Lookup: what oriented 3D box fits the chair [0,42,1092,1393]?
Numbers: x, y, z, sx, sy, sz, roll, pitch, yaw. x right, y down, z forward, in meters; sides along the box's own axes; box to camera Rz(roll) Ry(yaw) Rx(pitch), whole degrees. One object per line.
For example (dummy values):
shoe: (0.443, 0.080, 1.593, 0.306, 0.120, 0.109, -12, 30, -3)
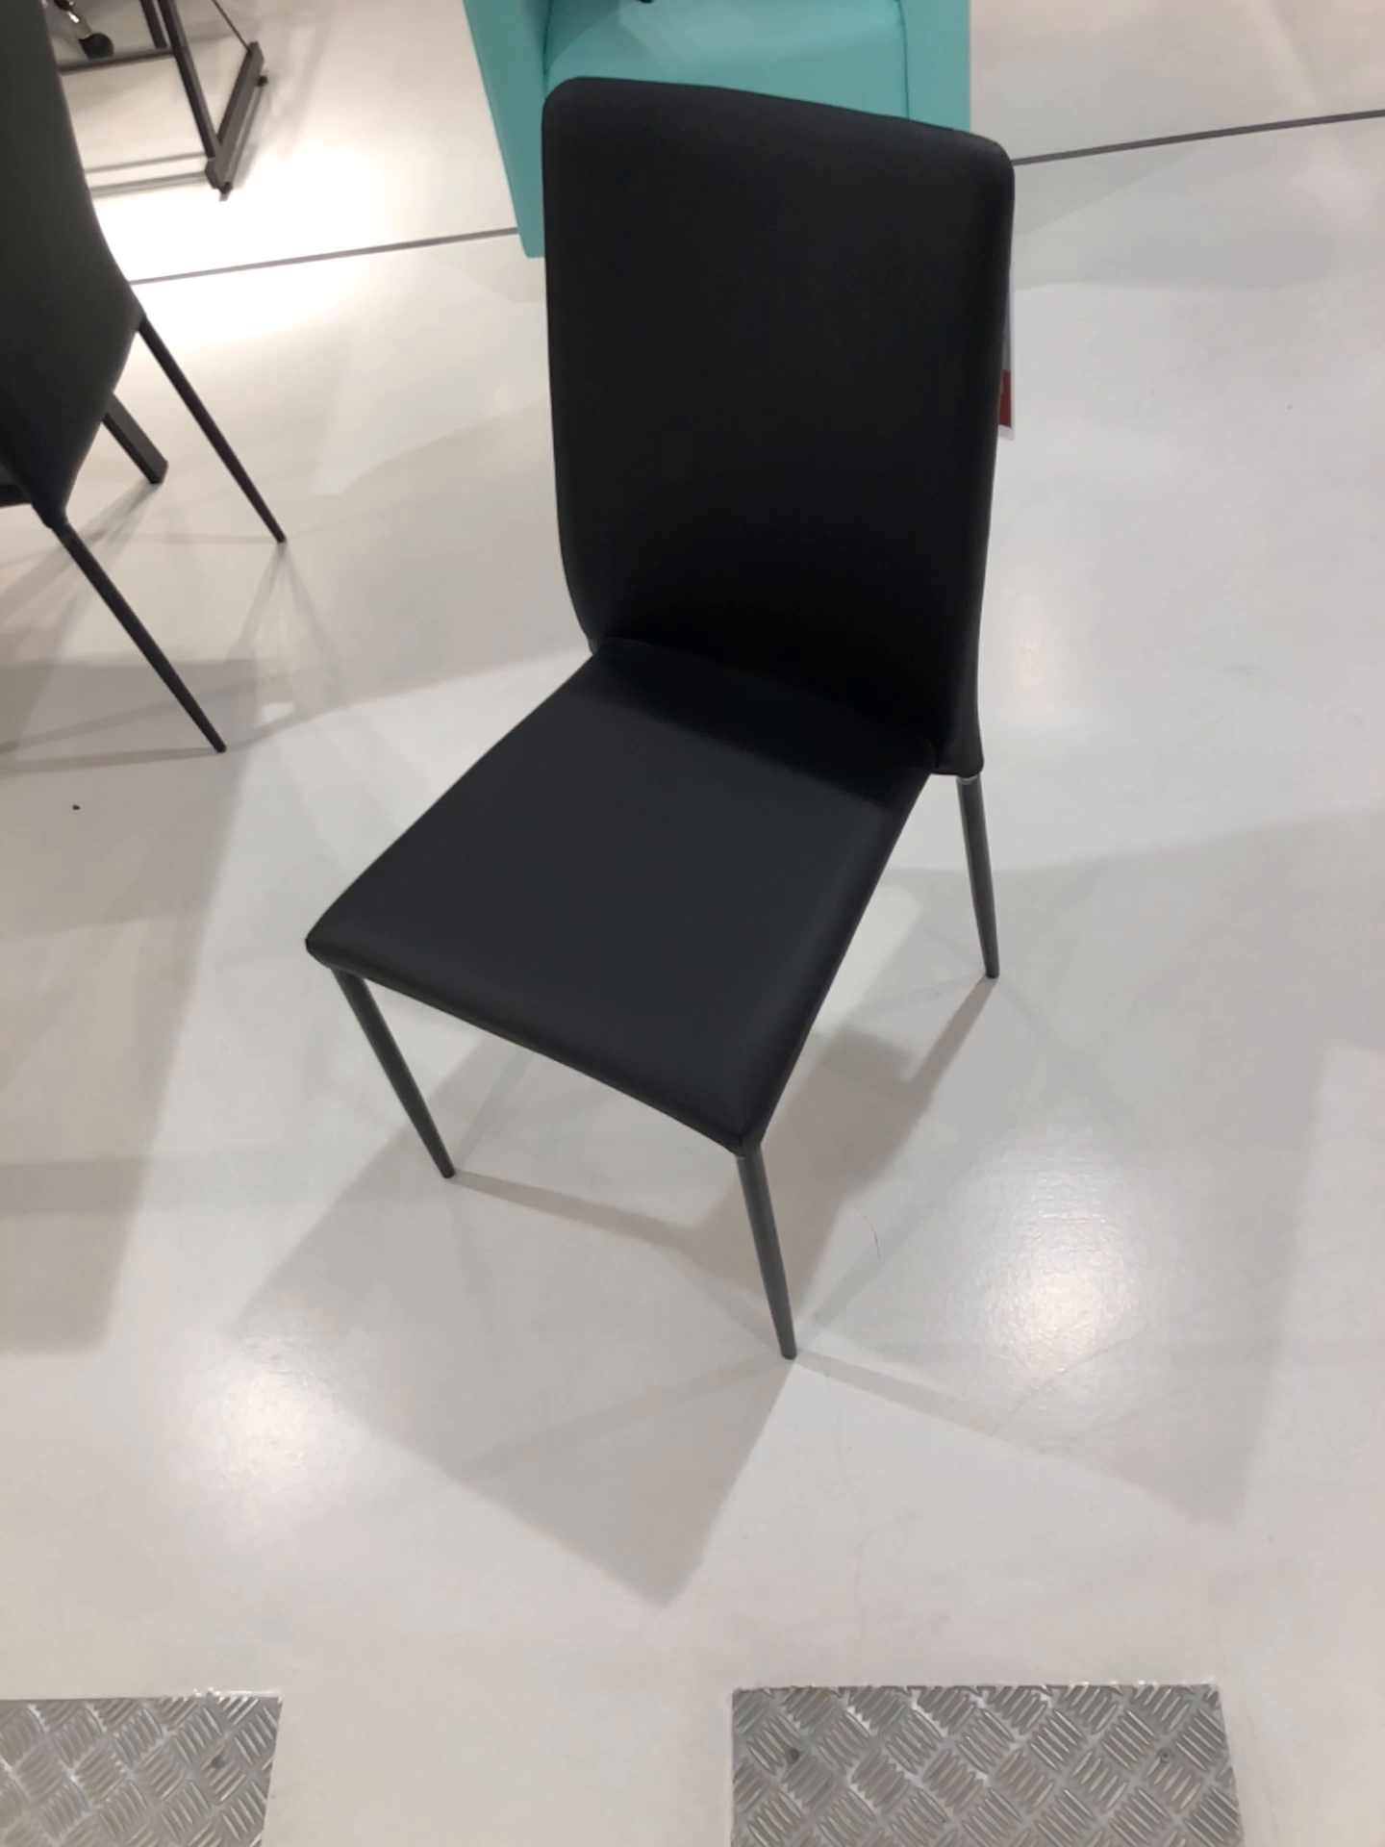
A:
chair: (-0.020, -0.118, 1.273, 0.451, 0.865, 0.602, 21, 61, 23)
